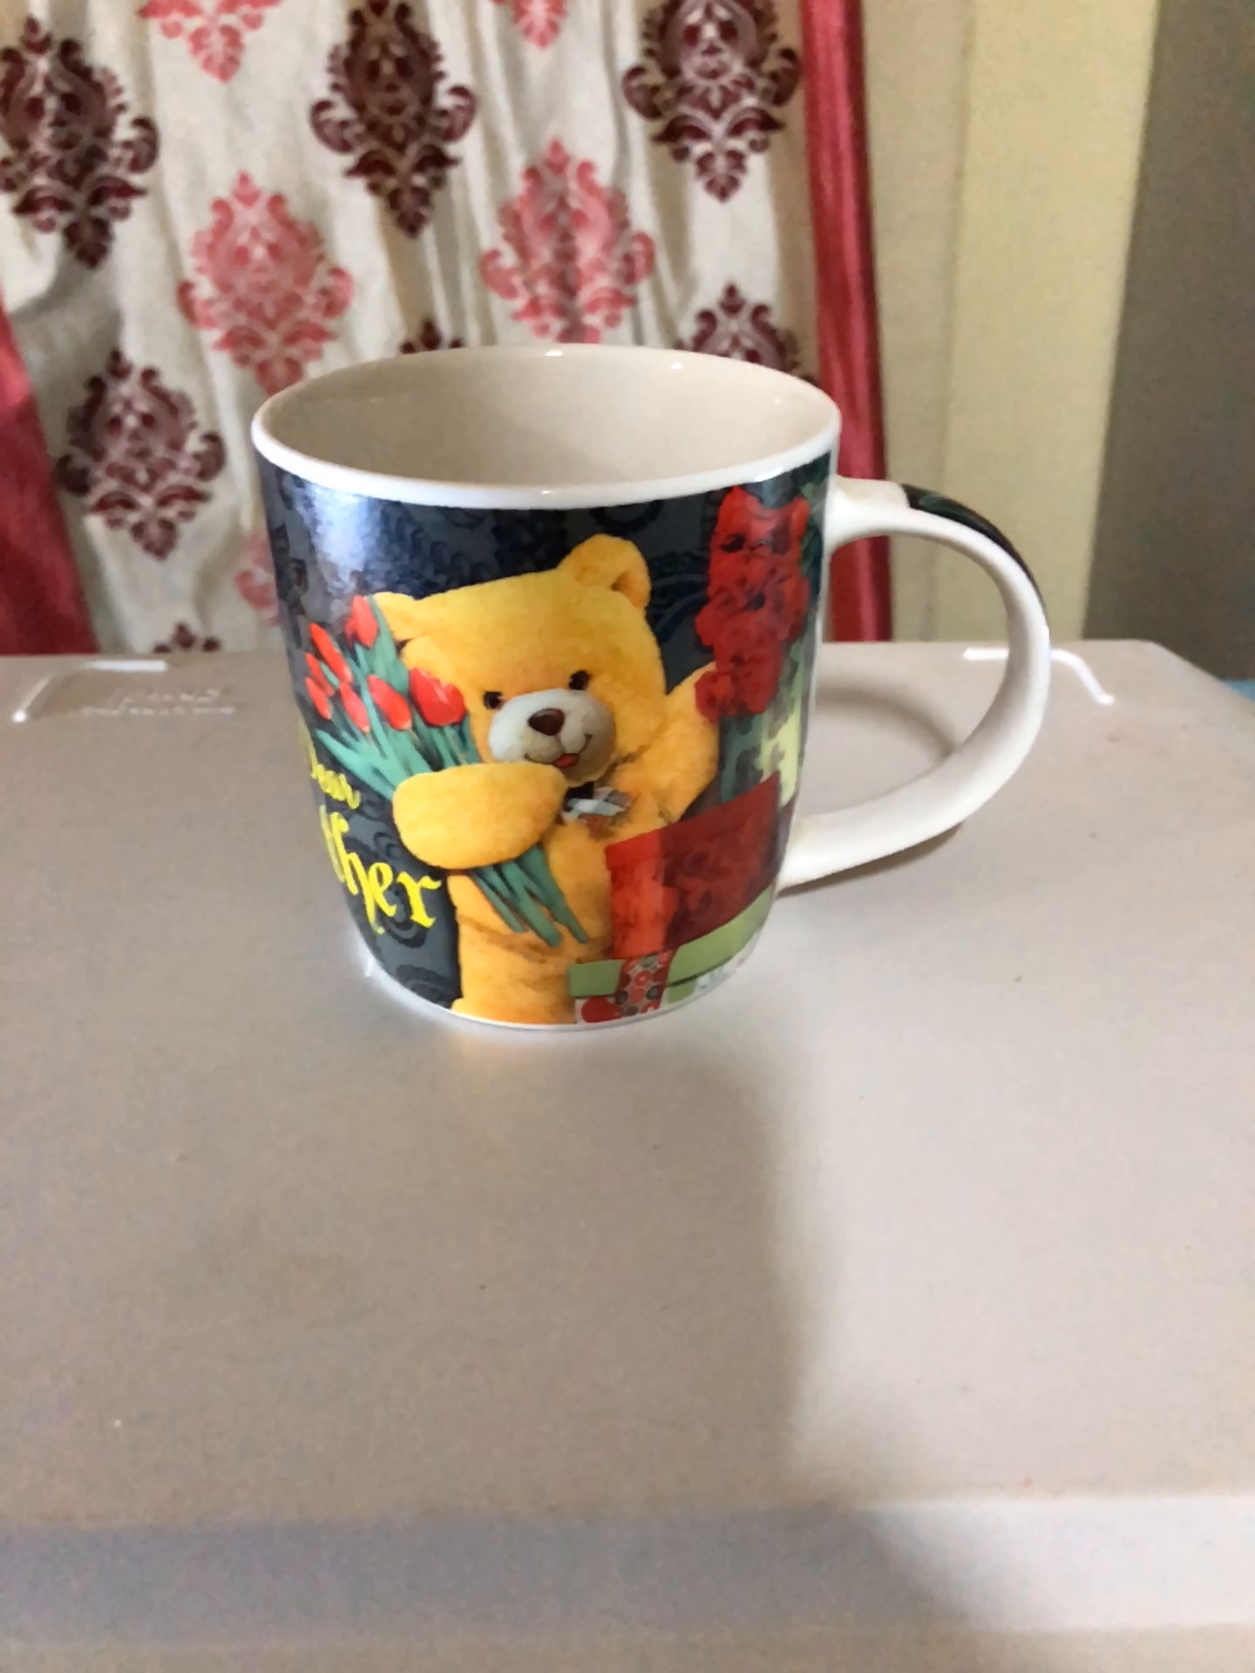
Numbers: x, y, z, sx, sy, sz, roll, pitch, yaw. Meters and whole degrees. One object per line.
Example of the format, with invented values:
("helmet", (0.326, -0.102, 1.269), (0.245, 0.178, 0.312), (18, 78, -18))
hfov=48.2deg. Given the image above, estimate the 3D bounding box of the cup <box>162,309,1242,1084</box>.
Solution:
("cup", (0.011, -0.026, 0.227), (0.130, 0.099, 0.081), (0, 27, 4))
